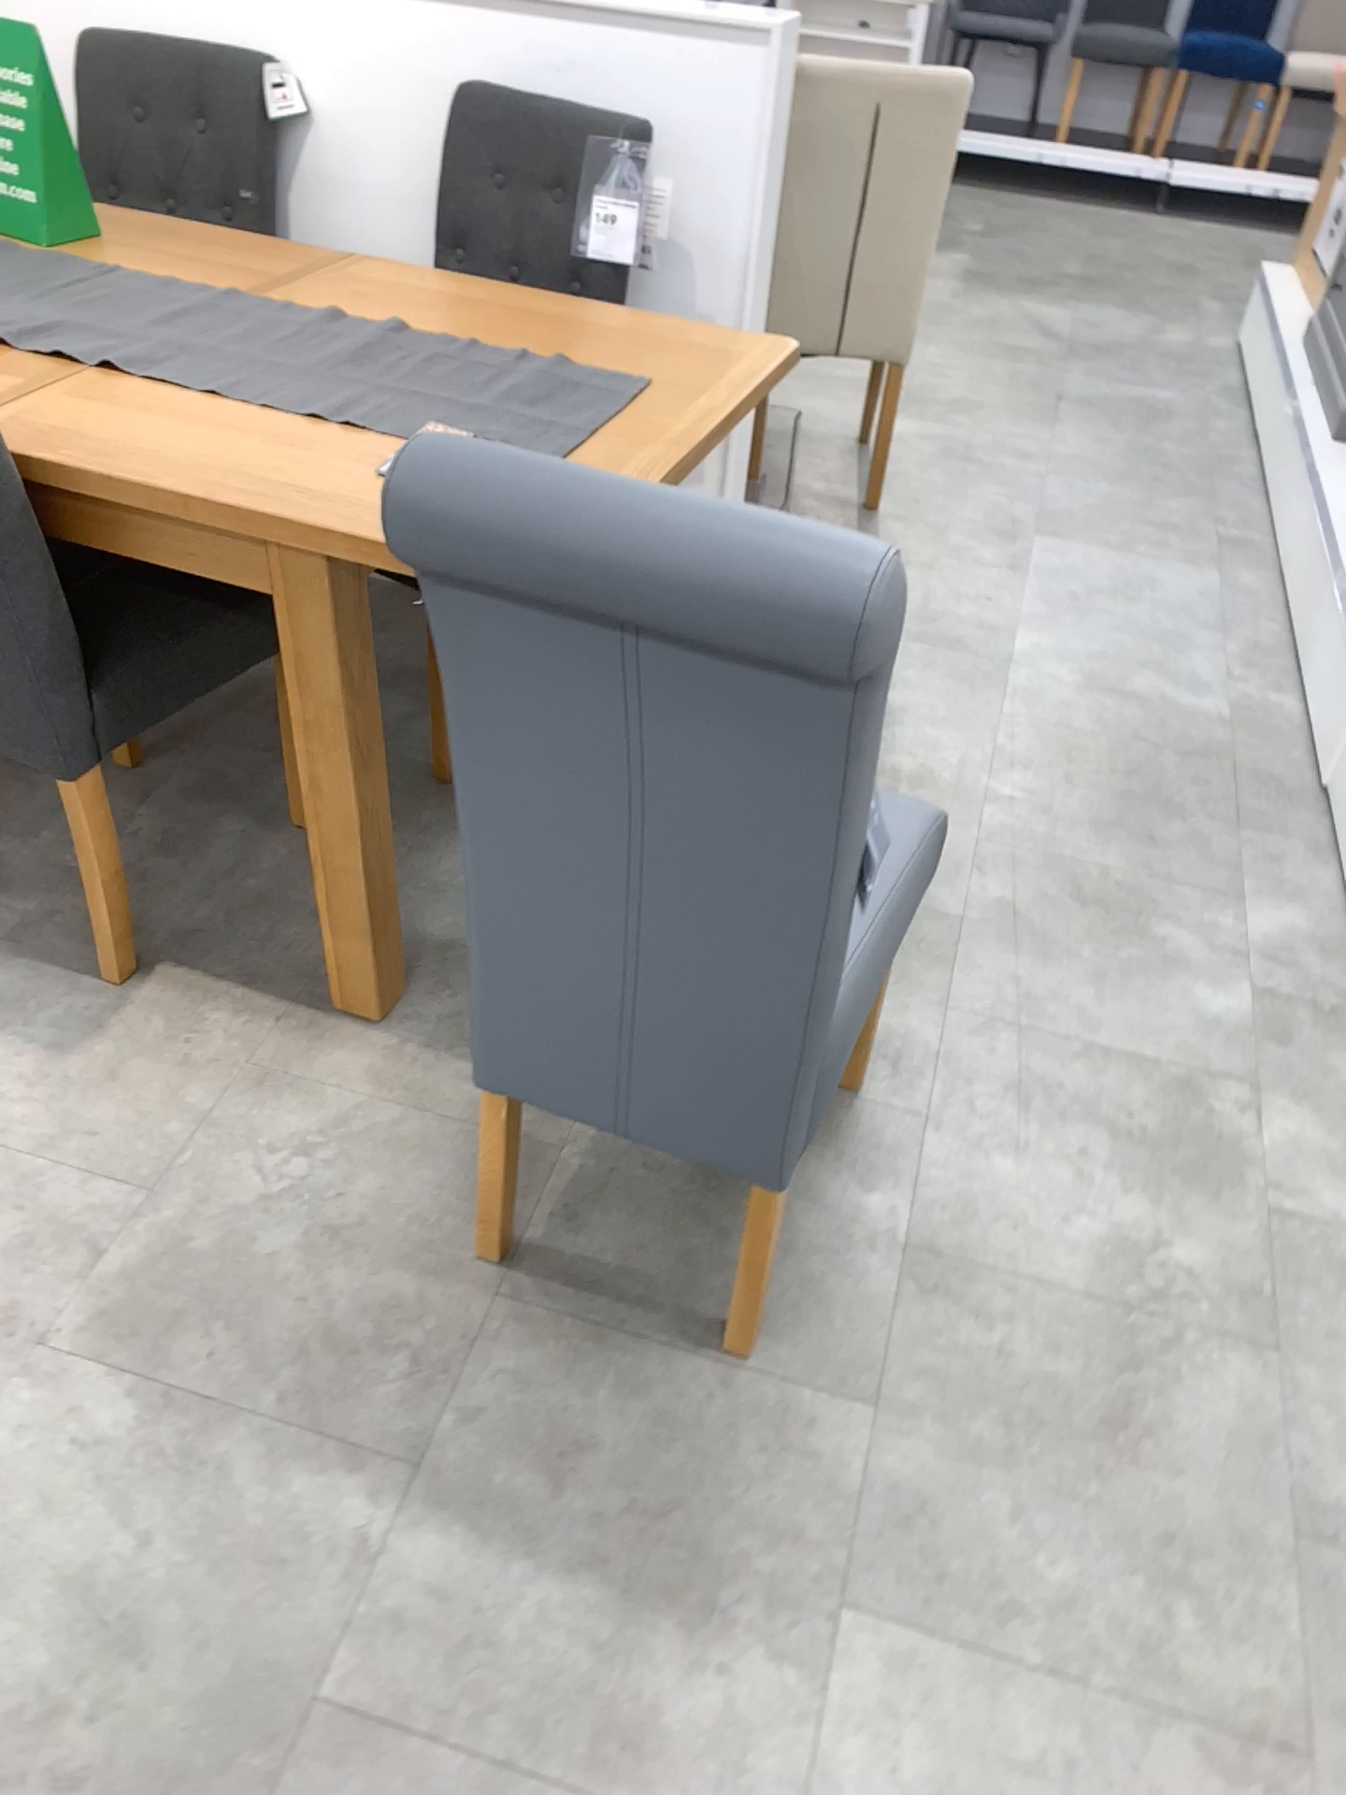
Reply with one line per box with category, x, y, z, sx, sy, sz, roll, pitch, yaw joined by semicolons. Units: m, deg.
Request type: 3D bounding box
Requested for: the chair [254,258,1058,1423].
chair;0.007;-0.066;1.429;0.473;0.906;0.660;16;40;13
